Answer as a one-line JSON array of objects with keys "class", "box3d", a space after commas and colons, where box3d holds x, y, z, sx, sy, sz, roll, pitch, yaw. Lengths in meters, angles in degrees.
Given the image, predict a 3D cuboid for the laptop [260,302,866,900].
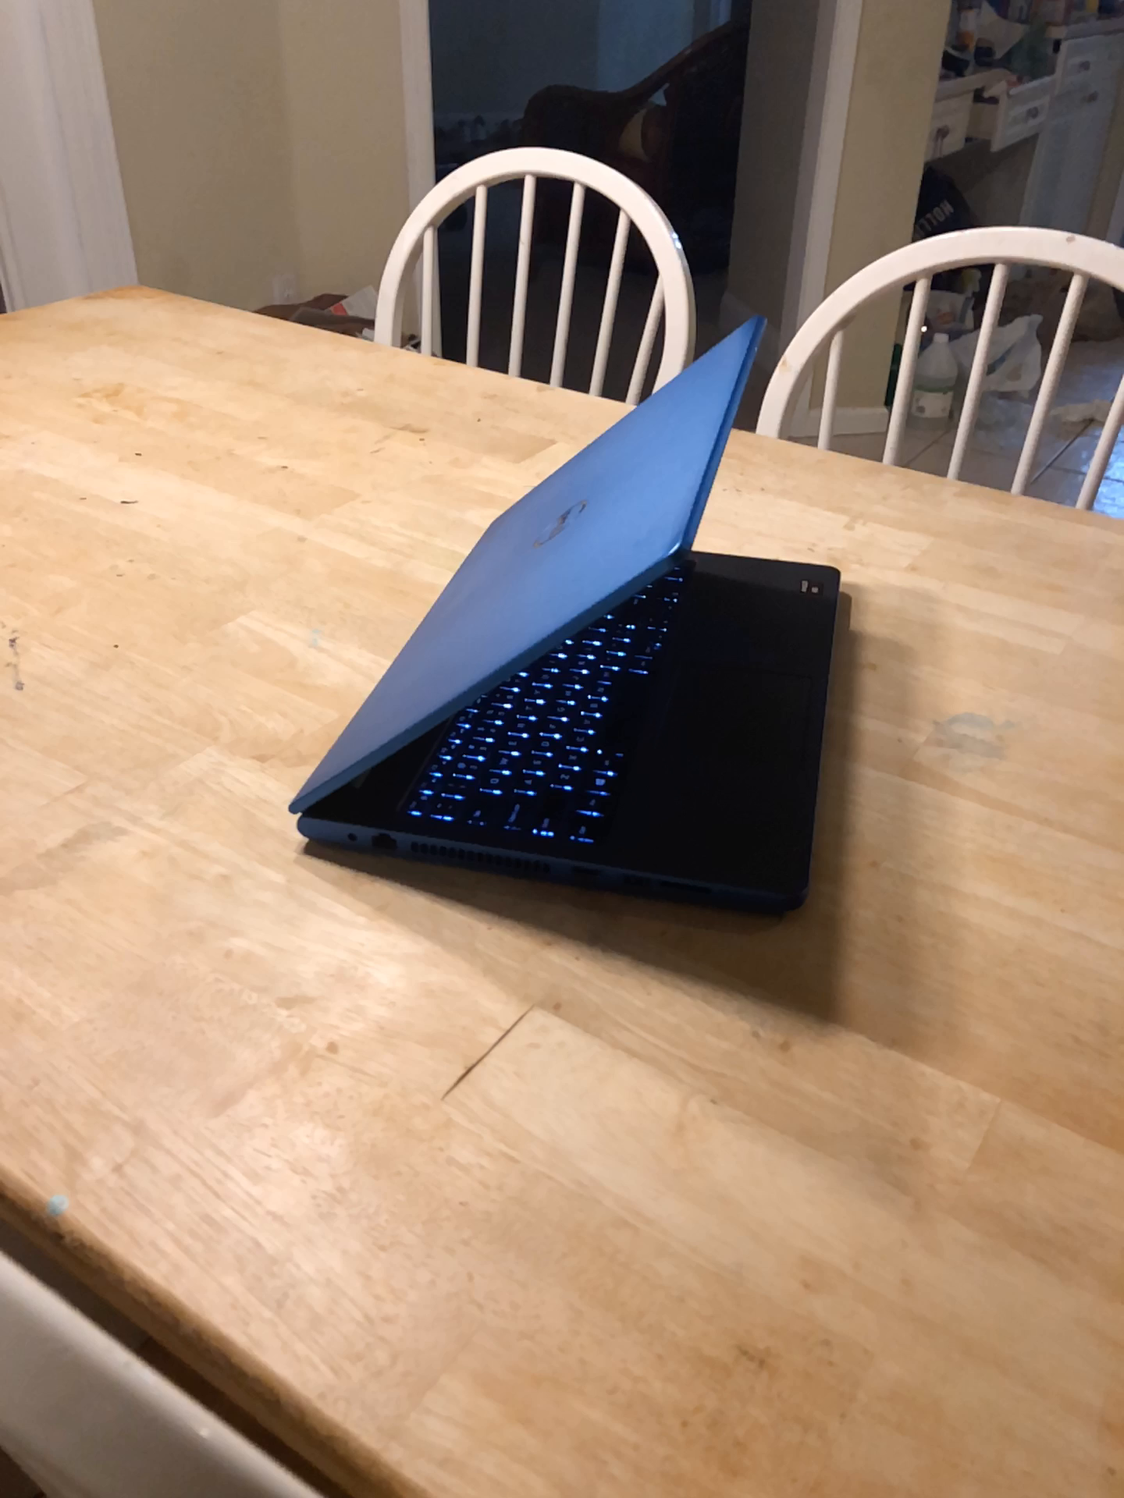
[{"class": "laptop", "box3d": [0.031, -0.112, 0.690, 0.248, 0.159, 0.363, 8, 34, 9]}]
